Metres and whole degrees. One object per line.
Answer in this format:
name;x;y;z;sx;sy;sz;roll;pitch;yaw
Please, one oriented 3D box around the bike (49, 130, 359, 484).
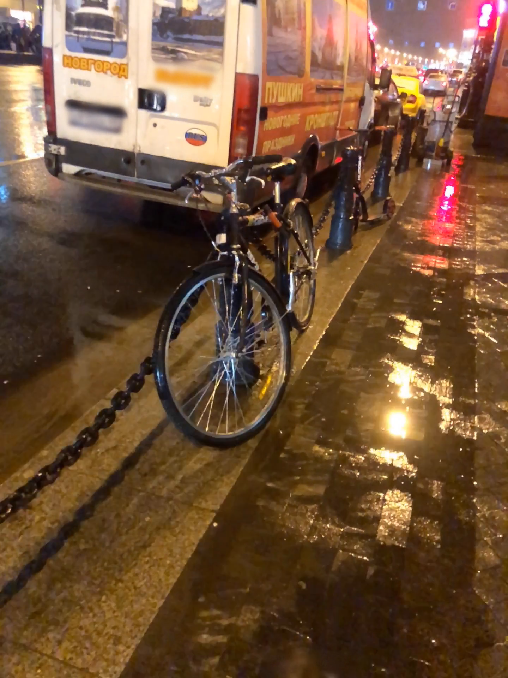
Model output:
bike;-0.058;-0.346;2.507;0.553;0.961;1.757;13;27;19
